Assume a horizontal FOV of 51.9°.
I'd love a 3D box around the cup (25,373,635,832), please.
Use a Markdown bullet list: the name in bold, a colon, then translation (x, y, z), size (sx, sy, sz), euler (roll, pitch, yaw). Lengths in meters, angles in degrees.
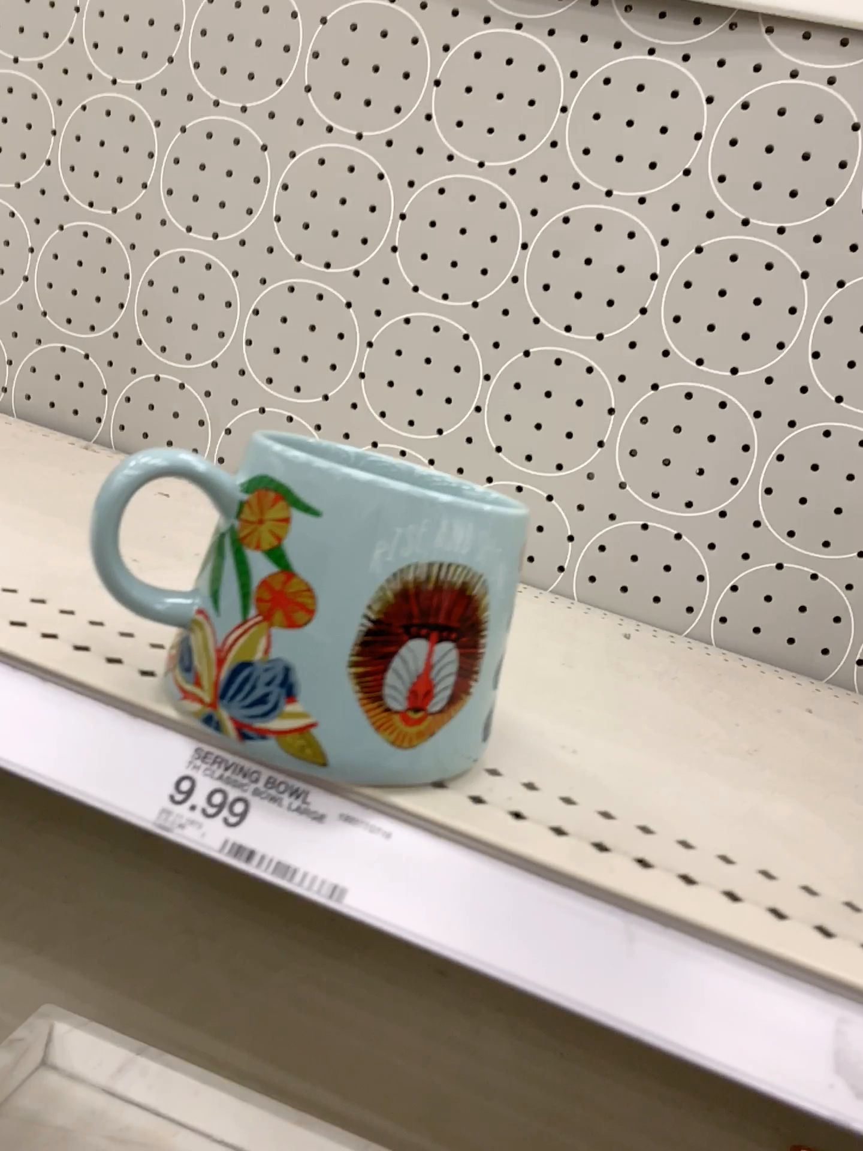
- **cup**: translation (-0.040, 0.004, 0.278), size (0.140, 0.090, 0.120), euler (11, 12, -24)
